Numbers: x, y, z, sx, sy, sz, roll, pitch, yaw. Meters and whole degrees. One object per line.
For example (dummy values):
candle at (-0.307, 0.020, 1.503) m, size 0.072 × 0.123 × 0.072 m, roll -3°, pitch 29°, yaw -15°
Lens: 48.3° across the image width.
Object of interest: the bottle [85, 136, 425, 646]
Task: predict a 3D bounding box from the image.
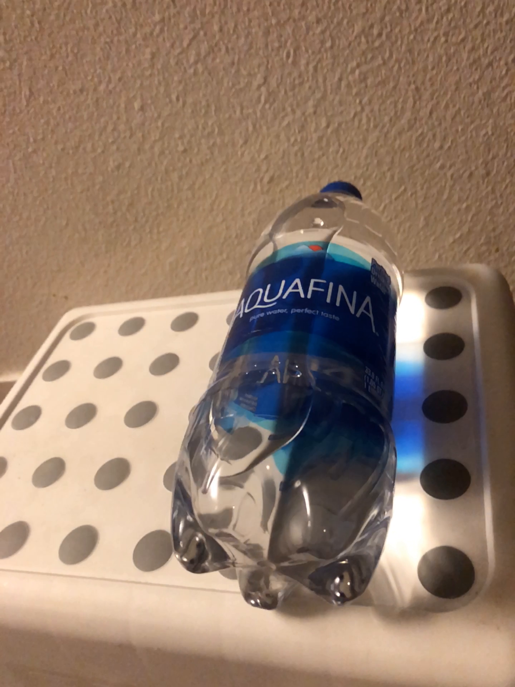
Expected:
bottle at (0.027, -0.004, 0.283) m, size 0.090 × 0.080 × 0.251 m, roll -4°, pitch 40°, yaw 22°
